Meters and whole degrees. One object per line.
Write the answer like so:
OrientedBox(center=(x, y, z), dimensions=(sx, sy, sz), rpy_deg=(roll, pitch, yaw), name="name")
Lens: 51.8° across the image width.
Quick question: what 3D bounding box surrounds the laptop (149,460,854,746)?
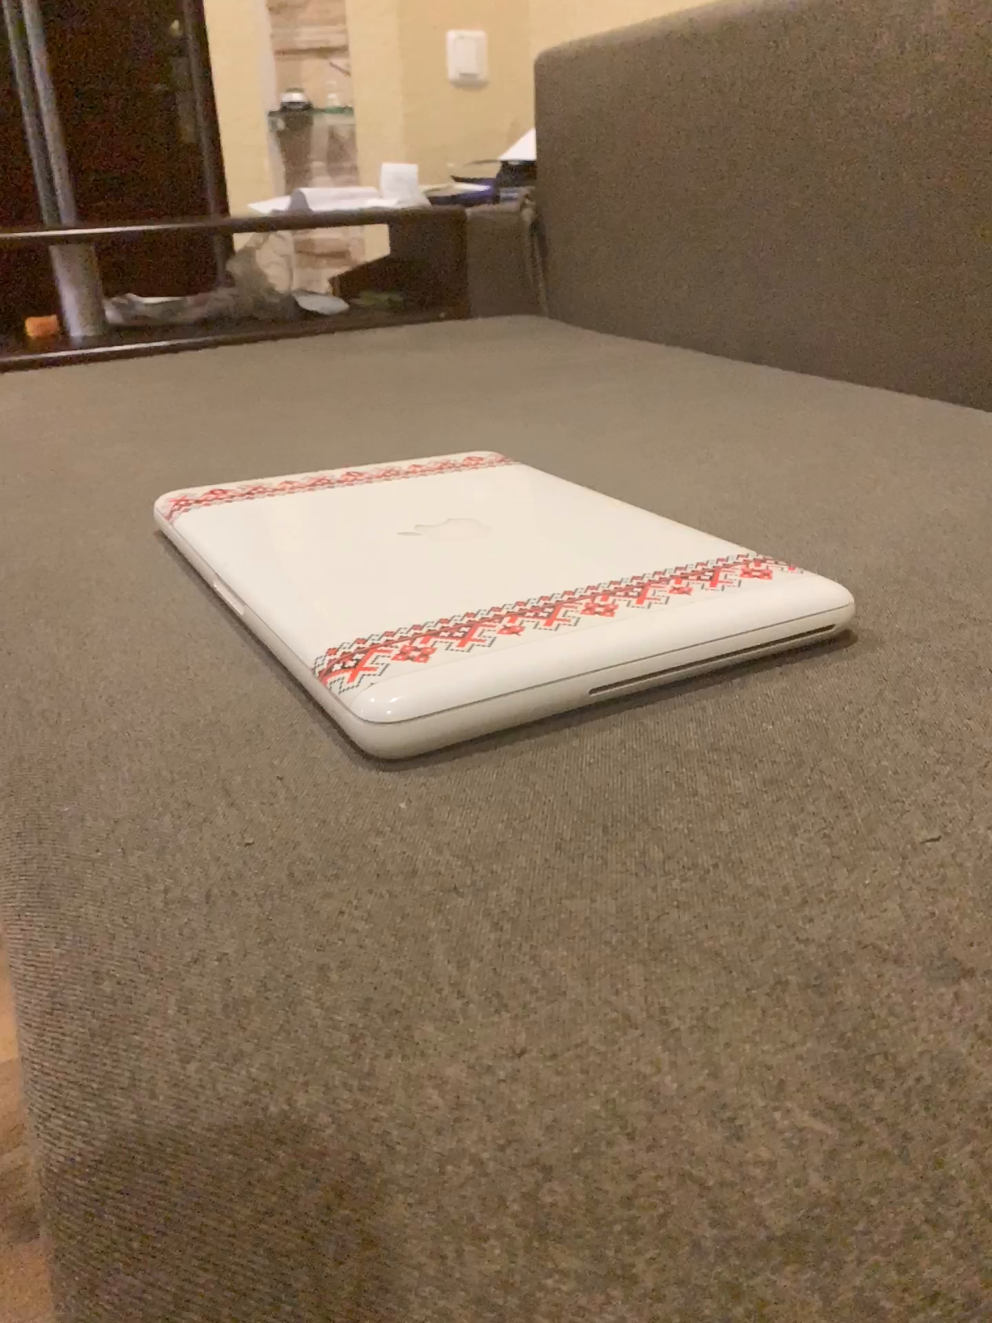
OrientedBox(center=(-0.026, -0.054, 0.523), dimensions=(0.222, 0.003, 0.326), rpy_deg=(-15, 28, -26), name="laptop")
